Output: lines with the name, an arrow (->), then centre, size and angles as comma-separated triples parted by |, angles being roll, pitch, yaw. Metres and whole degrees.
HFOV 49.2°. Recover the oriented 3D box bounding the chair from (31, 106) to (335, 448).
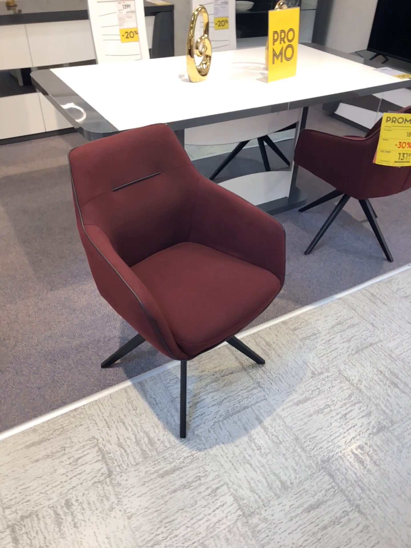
chair -> -0.068, -0.027, 1.427 | 0.570, 0.735, 0.583 | 32, 47, 33
